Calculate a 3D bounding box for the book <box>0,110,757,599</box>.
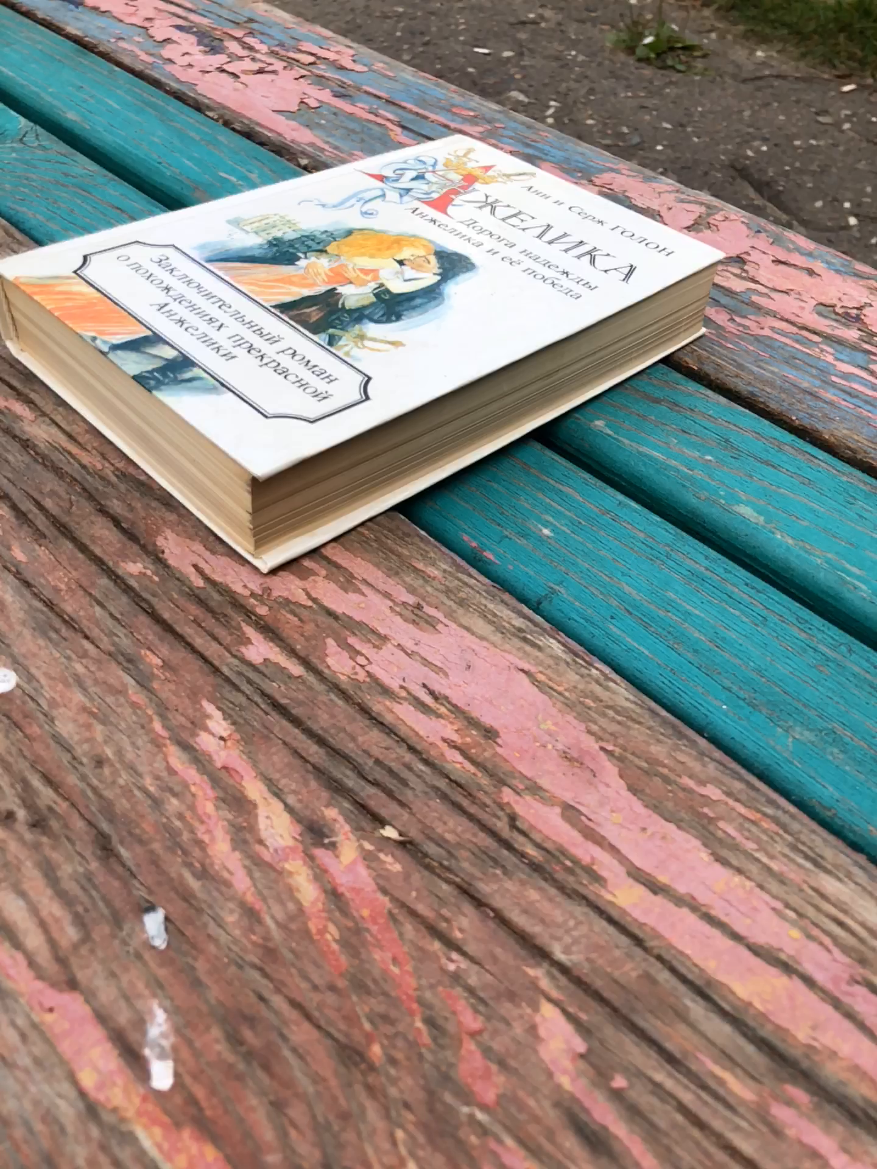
[{"bbox_3d":[-0.019,-0.098,0.329,0.154,0.032,0.214,38,52,27],"label":"book"}]
